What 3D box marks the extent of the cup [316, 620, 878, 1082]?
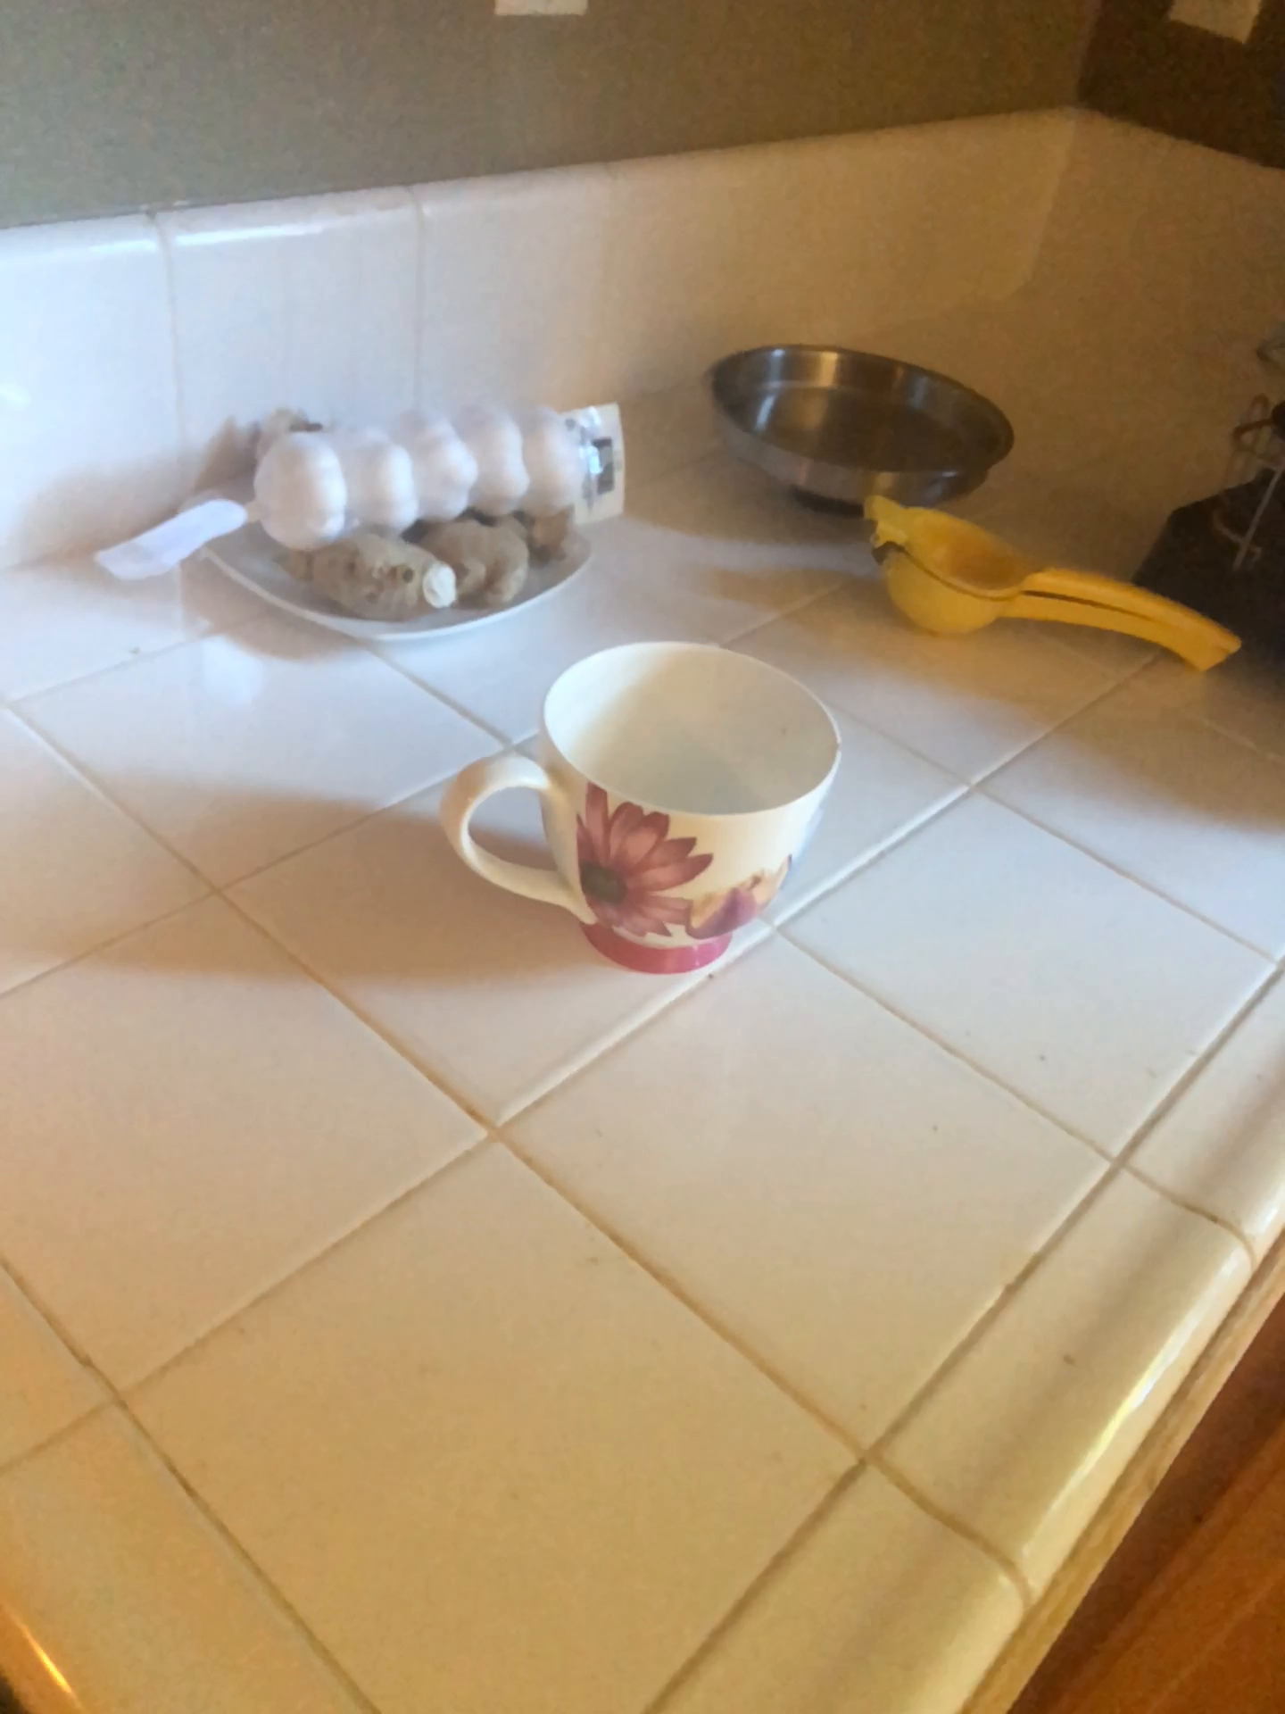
[{"bbox_3d":[-0.020,-0.009,0.522,0.171,0.089,0.100,-16,46,-29],"label":"cup"}]
